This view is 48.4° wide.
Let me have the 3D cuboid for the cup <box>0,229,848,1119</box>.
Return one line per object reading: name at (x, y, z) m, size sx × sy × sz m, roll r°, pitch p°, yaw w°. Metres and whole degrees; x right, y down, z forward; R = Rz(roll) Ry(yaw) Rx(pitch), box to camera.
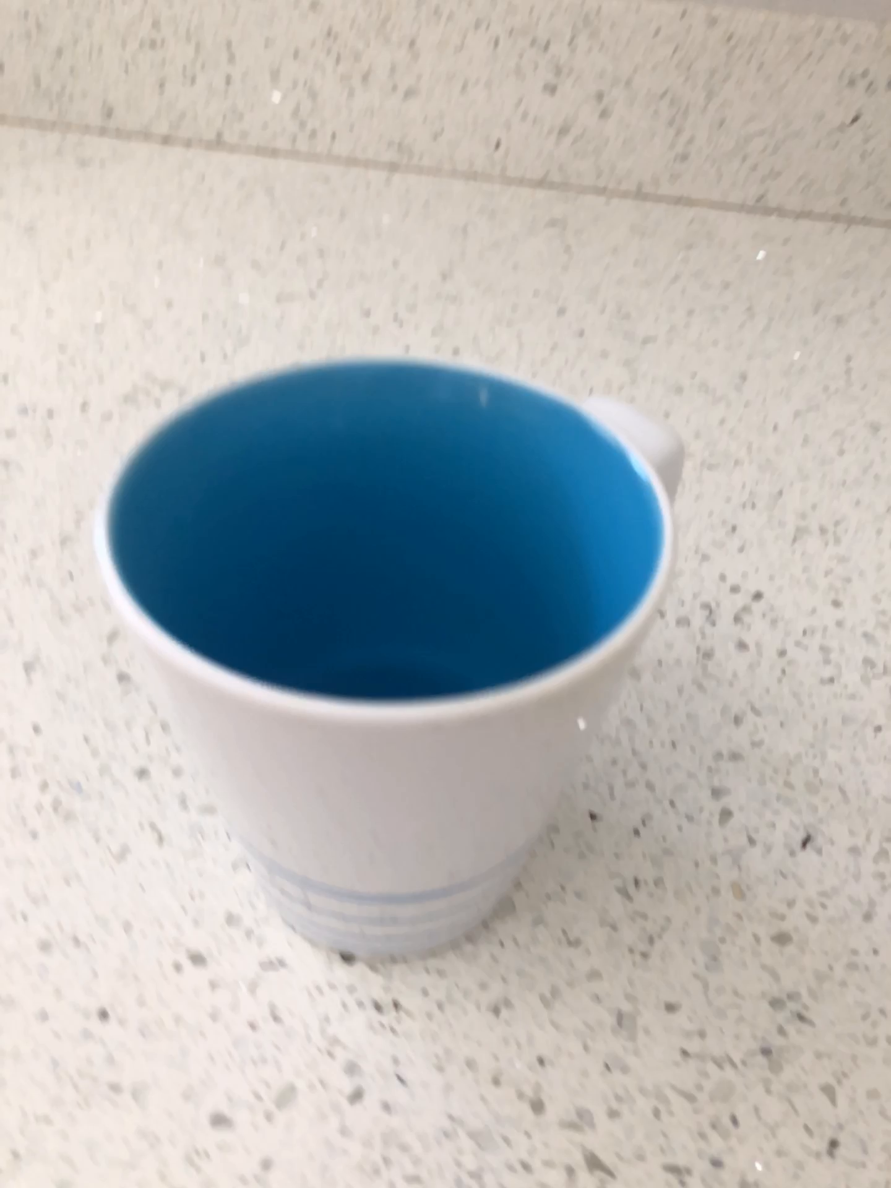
cup at (0.004, 0.005, 0.187) m, size 0.080 × 0.090 × 0.120 m, roll 26°, pitch 48°, yaw 23°
